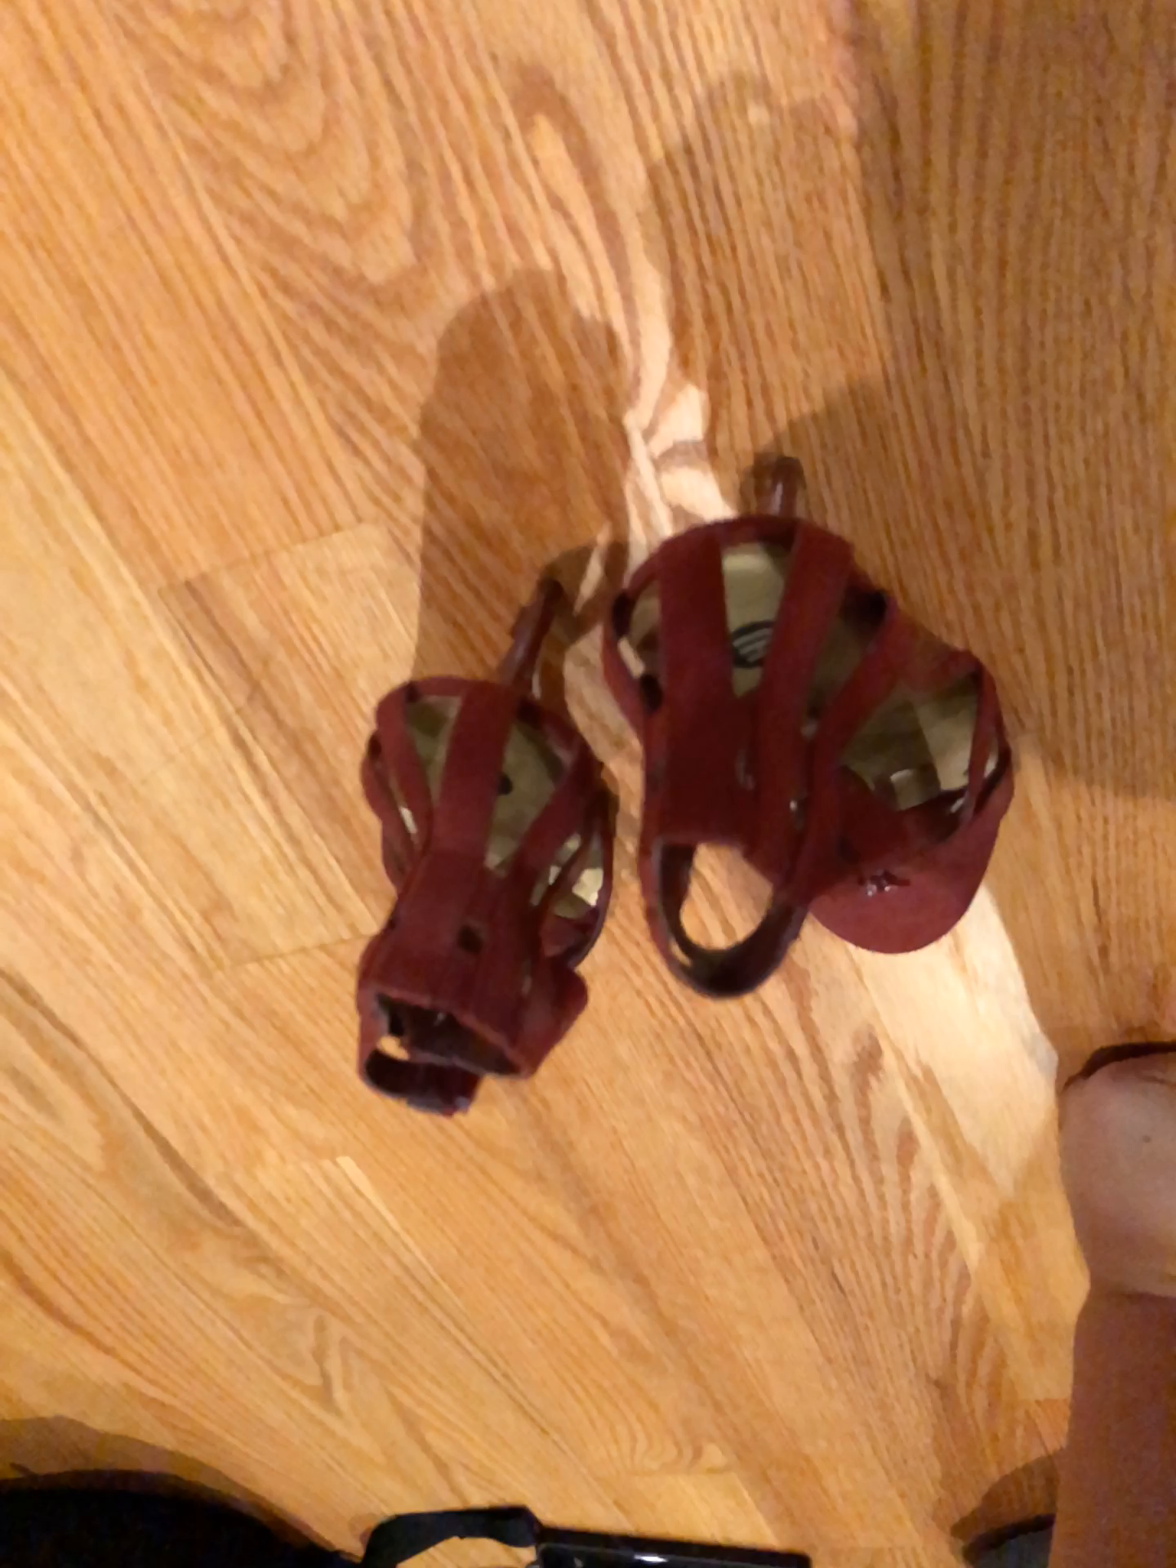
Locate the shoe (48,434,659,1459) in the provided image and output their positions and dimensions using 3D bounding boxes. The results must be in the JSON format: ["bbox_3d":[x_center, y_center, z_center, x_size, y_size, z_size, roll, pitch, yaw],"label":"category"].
[{"bbox_3d":[-0.043,0.040,0.347,0.085,0.176,0.199,9,129,5],"label":"shoe"}]

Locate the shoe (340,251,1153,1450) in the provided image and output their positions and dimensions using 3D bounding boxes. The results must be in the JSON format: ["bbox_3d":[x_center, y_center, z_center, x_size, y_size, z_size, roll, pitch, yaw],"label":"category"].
[{"bbox_3d":[0.055,0.016,0.304,0.085,0.176,0.207,-14,123,21],"label":"shoe"}]
